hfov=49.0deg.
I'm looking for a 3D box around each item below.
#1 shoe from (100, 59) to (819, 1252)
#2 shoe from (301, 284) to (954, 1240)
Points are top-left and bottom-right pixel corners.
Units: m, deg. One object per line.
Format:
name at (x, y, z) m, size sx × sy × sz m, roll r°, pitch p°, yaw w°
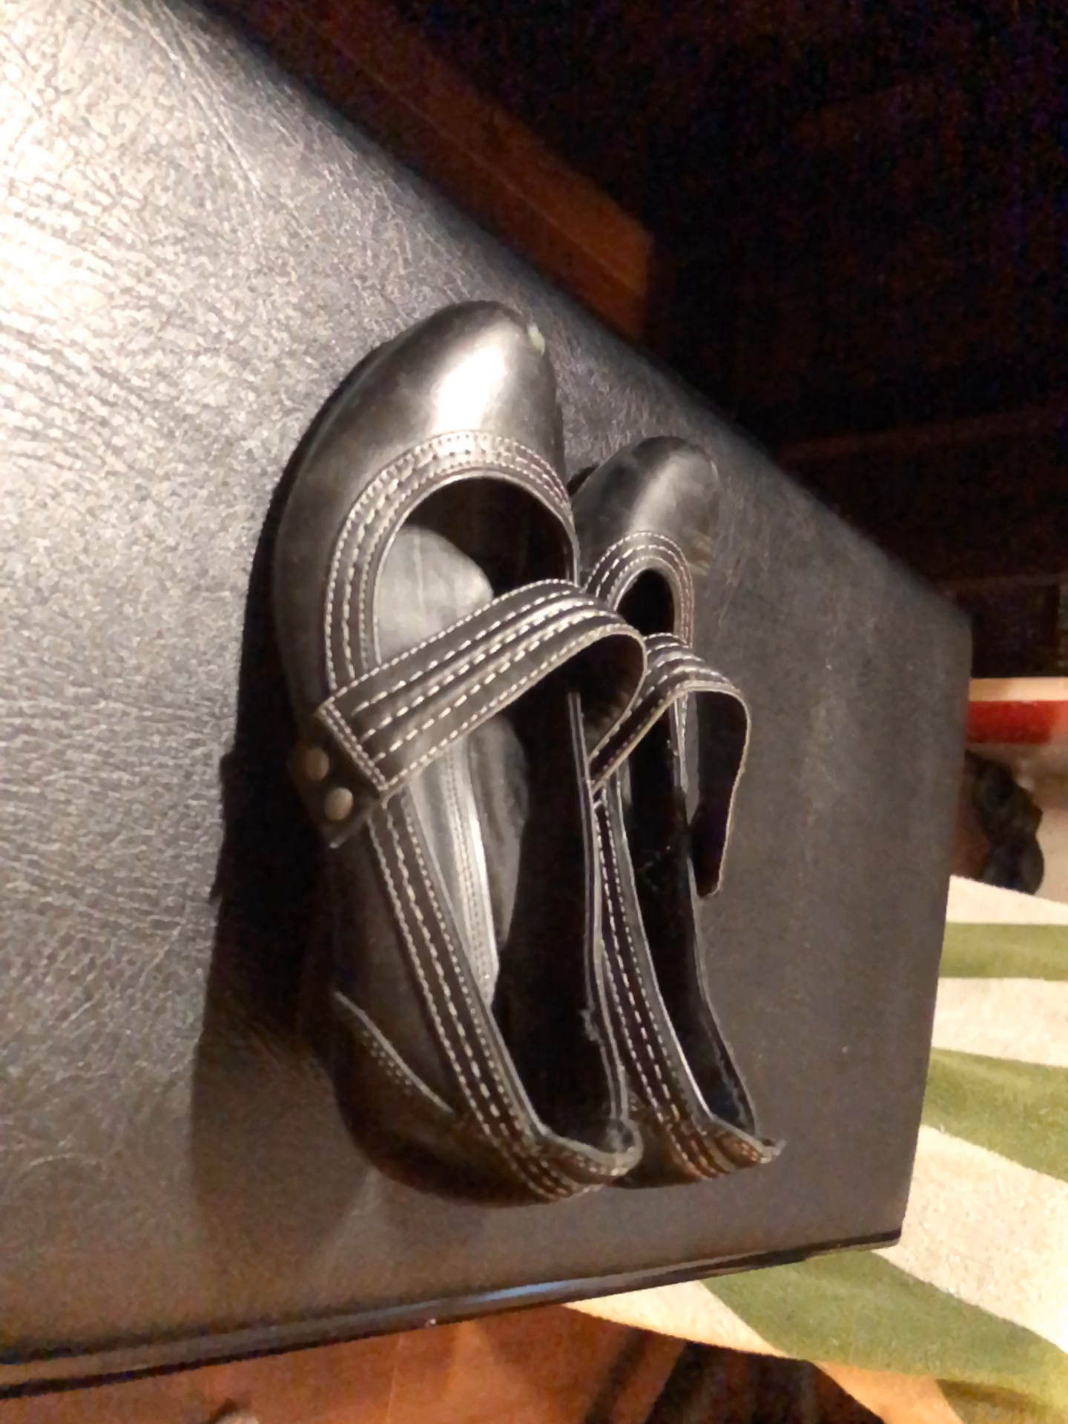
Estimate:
shoe at (-0.013, -0.010, 0.301) m, size 0.100 × 0.109 × 0.240 m, roll 19°, pitch 76°, yaw -47°
shoe at (0.037, 0.014, 0.355) m, size 0.100 × 0.109 × 0.240 m, roll 31°, pitch 67°, yaw -44°
